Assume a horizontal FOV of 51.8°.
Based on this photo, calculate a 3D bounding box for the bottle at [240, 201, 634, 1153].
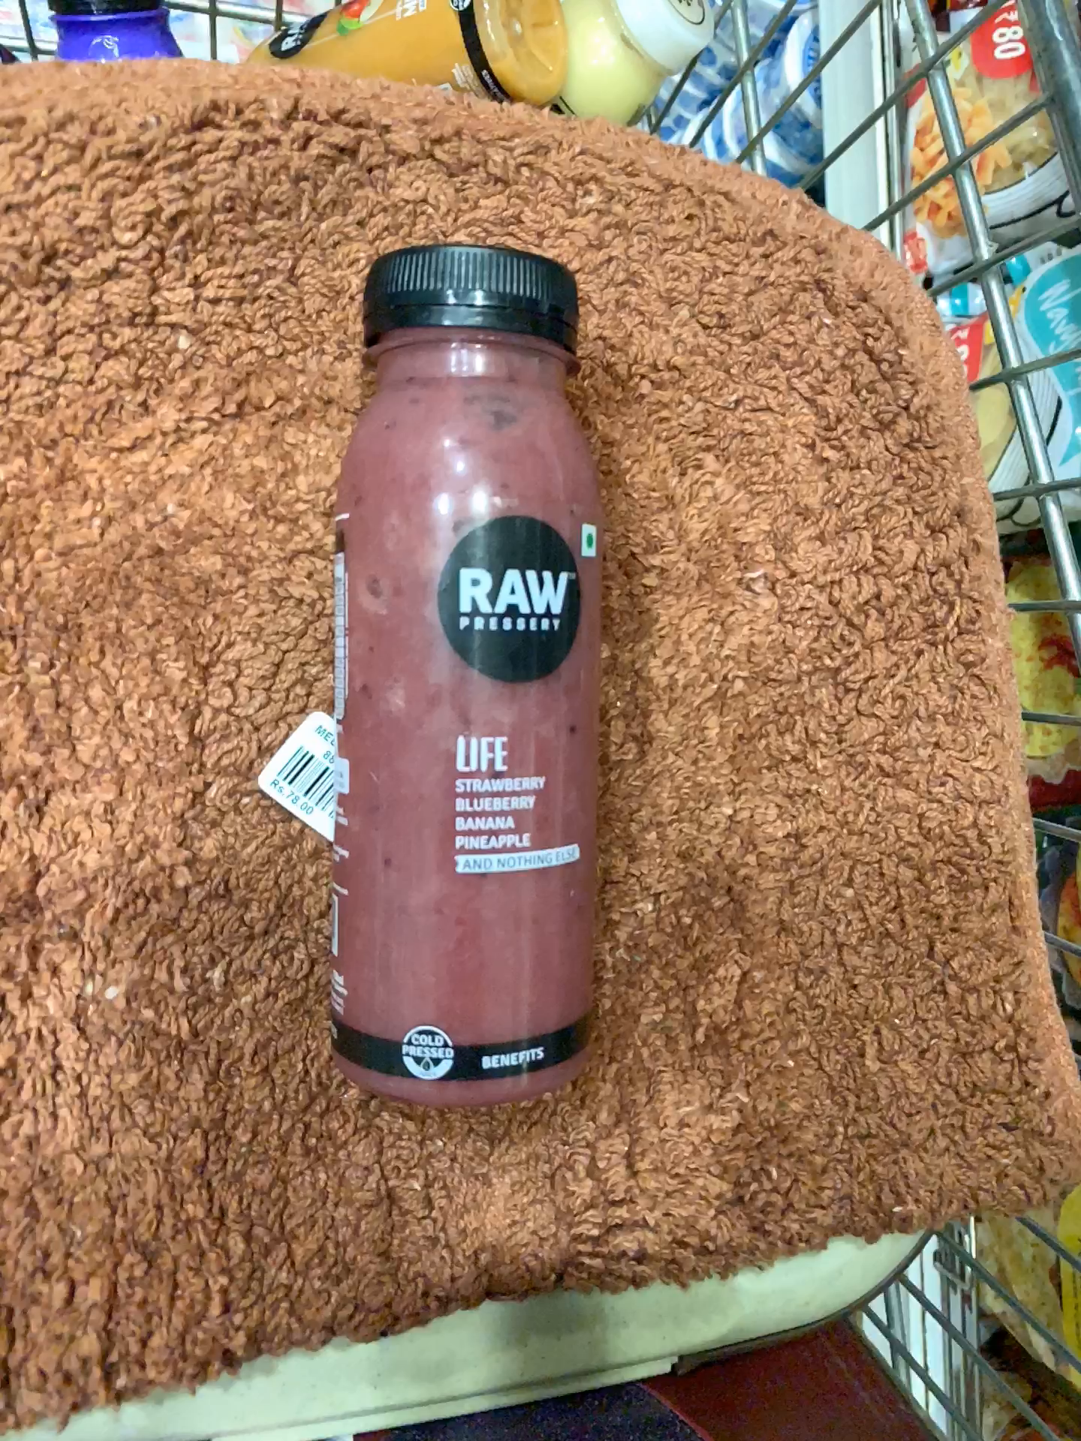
[{"bbox_3d":[-0.021,-0.007,0.211,0.060,0.050,0.150,-1,93,-24],"label":"bottle"}]
